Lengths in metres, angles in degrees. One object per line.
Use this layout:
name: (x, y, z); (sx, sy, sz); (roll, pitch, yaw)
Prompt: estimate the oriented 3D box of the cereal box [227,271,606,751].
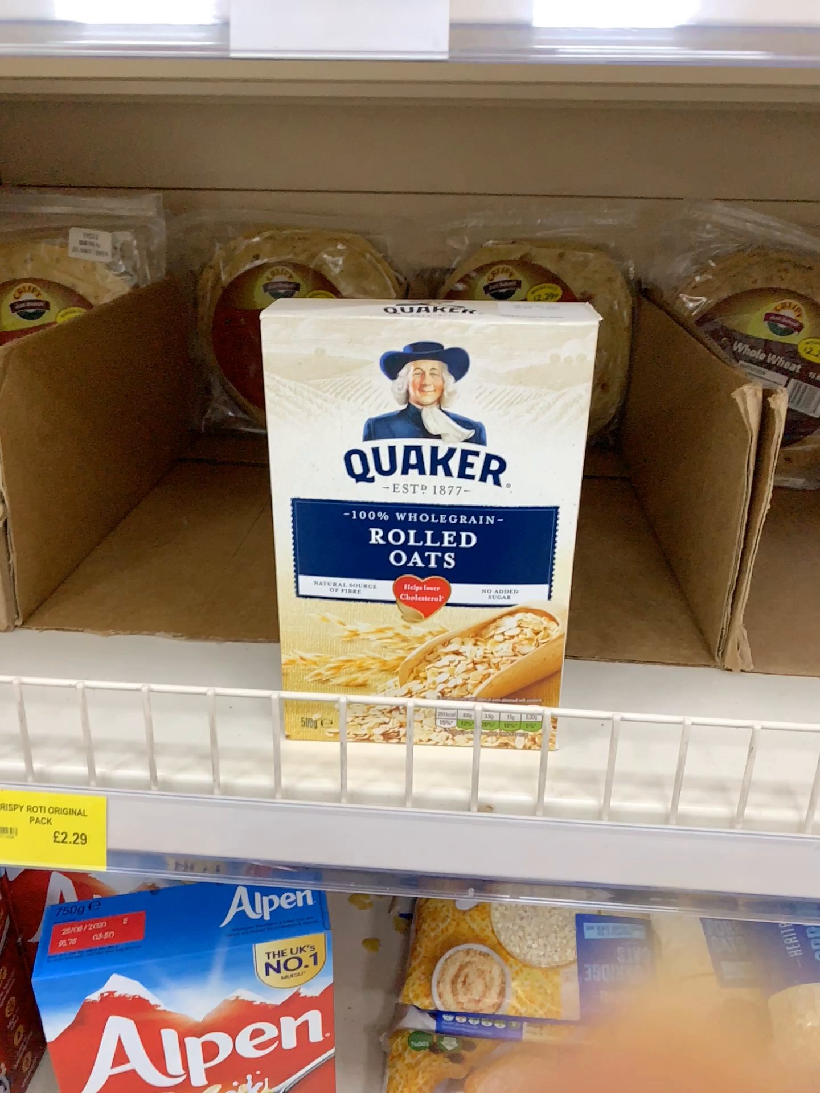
cereal box: (0.003, -0.013, 0.405); (0.150, 0.218, 0.061); (2, 24, 3)
